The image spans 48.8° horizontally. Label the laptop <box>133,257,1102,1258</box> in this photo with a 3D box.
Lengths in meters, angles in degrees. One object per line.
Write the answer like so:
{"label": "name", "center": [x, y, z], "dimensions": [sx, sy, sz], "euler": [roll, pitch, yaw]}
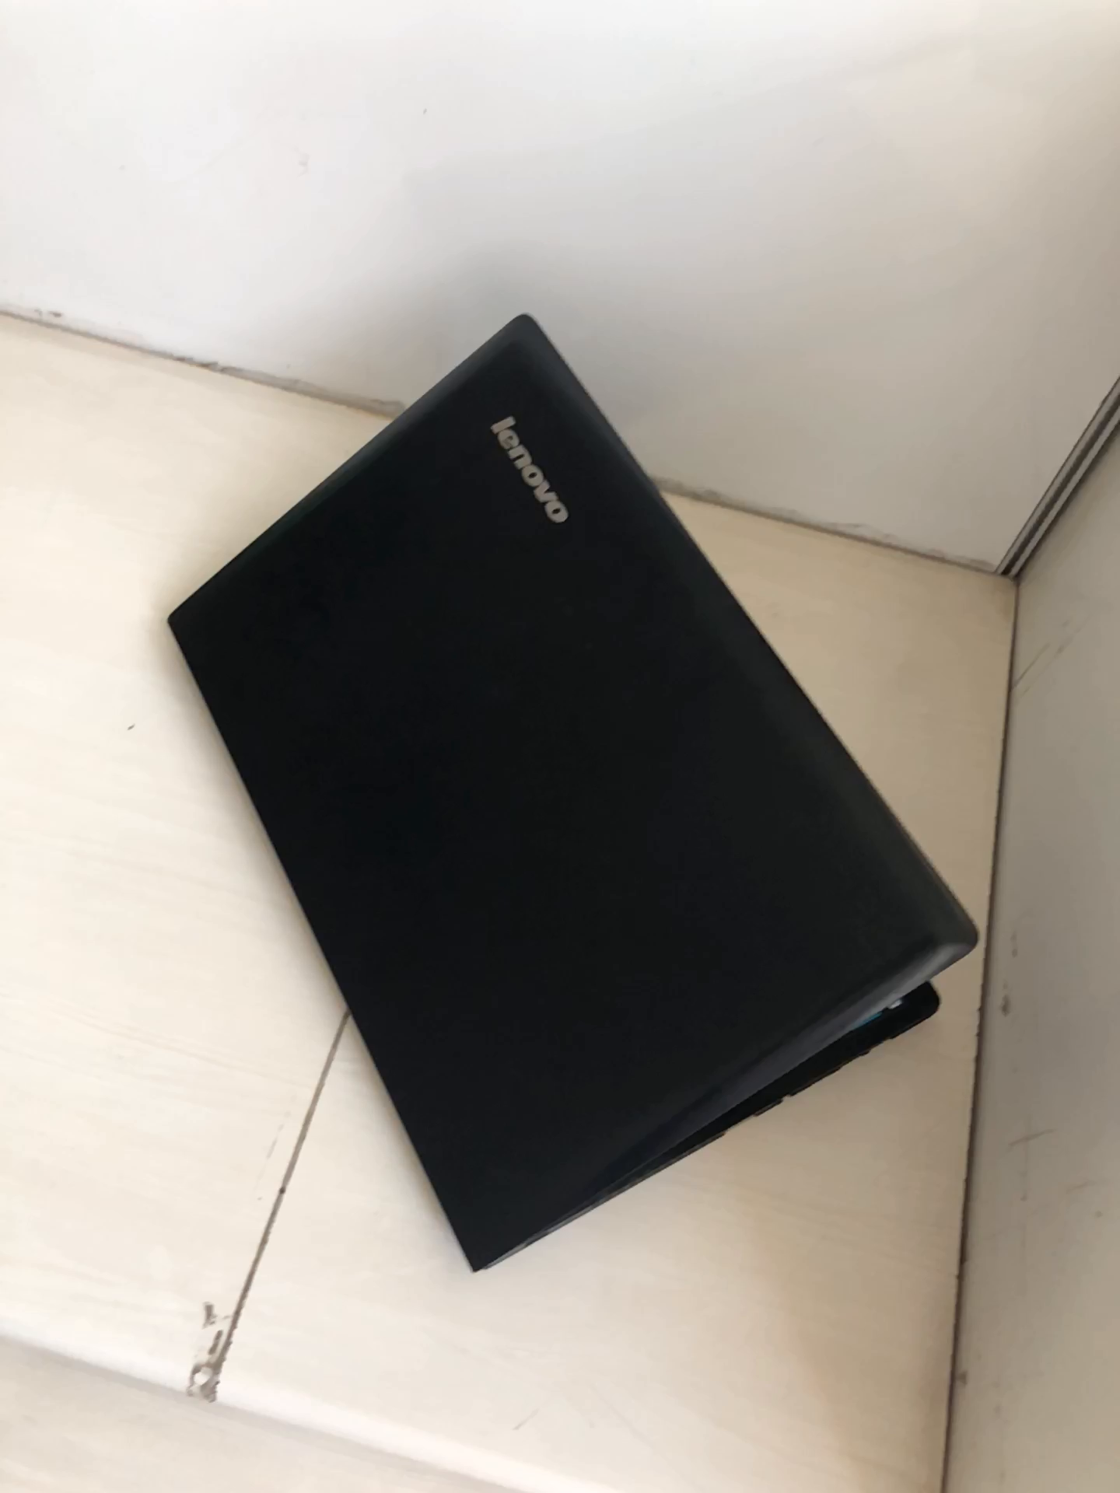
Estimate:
{"label": "laptop", "center": [-0.003, -0.008, 0.587], "dimensions": [0.252, 0.162, 0.375], "euler": [-24, 65, -15]}
